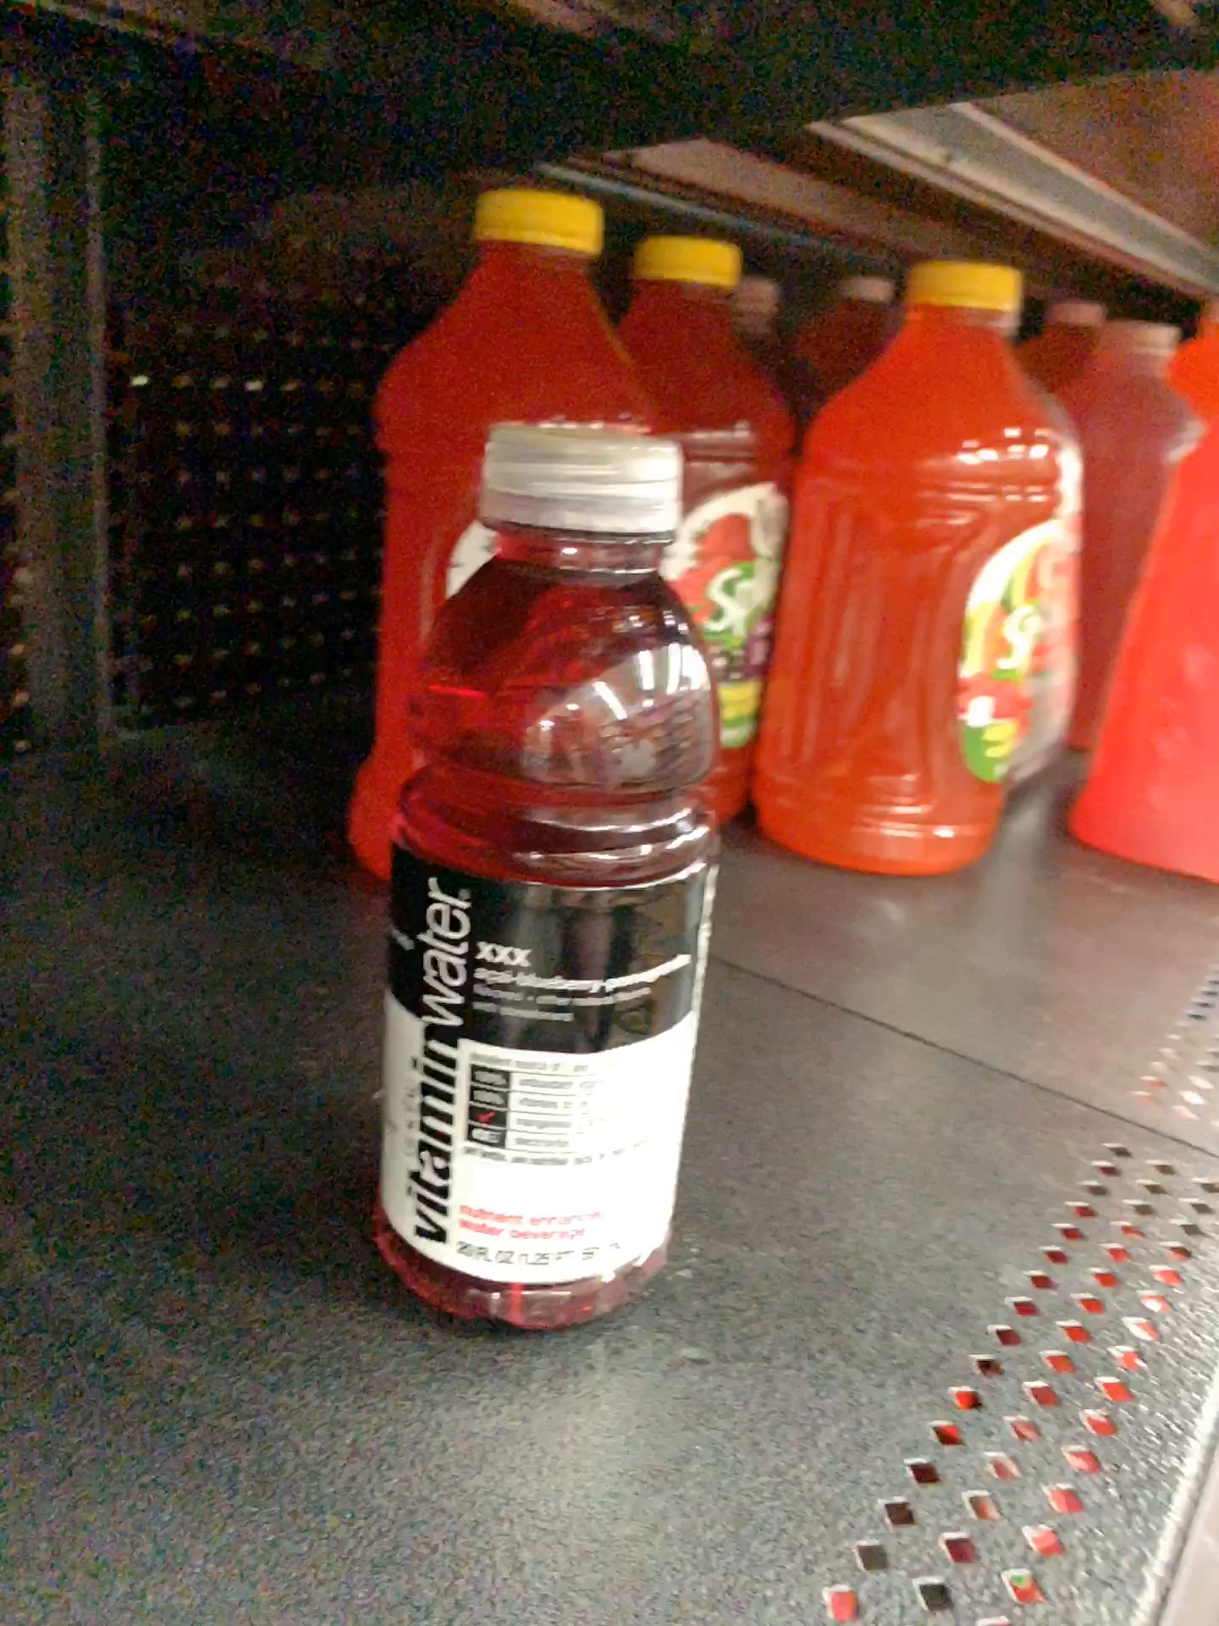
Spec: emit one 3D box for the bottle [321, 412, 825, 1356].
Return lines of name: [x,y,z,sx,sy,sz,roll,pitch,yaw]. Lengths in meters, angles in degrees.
bottle: [-0.008,0.011,0.279,0.080,0.179,0.080,6,20,-2]
